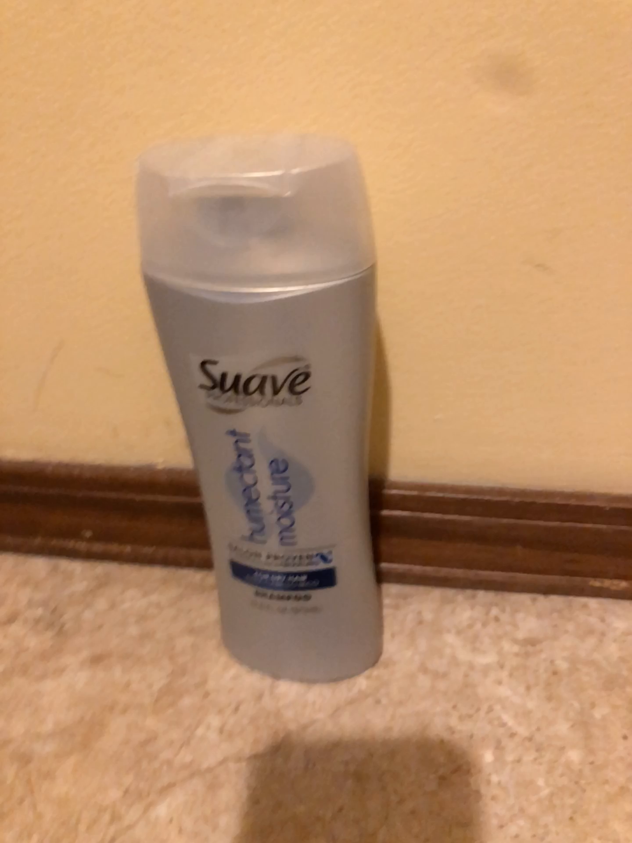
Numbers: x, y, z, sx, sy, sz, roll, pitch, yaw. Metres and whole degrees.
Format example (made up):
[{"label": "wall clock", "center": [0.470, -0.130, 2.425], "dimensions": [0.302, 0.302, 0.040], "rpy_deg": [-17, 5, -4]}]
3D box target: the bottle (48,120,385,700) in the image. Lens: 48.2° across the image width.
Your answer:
[{"label": "bottle", "center": [-0.017, 0.012, 0.250], "dimensions": [0.080, 0.209, 0.050], "rpy_deg": [1, 36, 8]}]
